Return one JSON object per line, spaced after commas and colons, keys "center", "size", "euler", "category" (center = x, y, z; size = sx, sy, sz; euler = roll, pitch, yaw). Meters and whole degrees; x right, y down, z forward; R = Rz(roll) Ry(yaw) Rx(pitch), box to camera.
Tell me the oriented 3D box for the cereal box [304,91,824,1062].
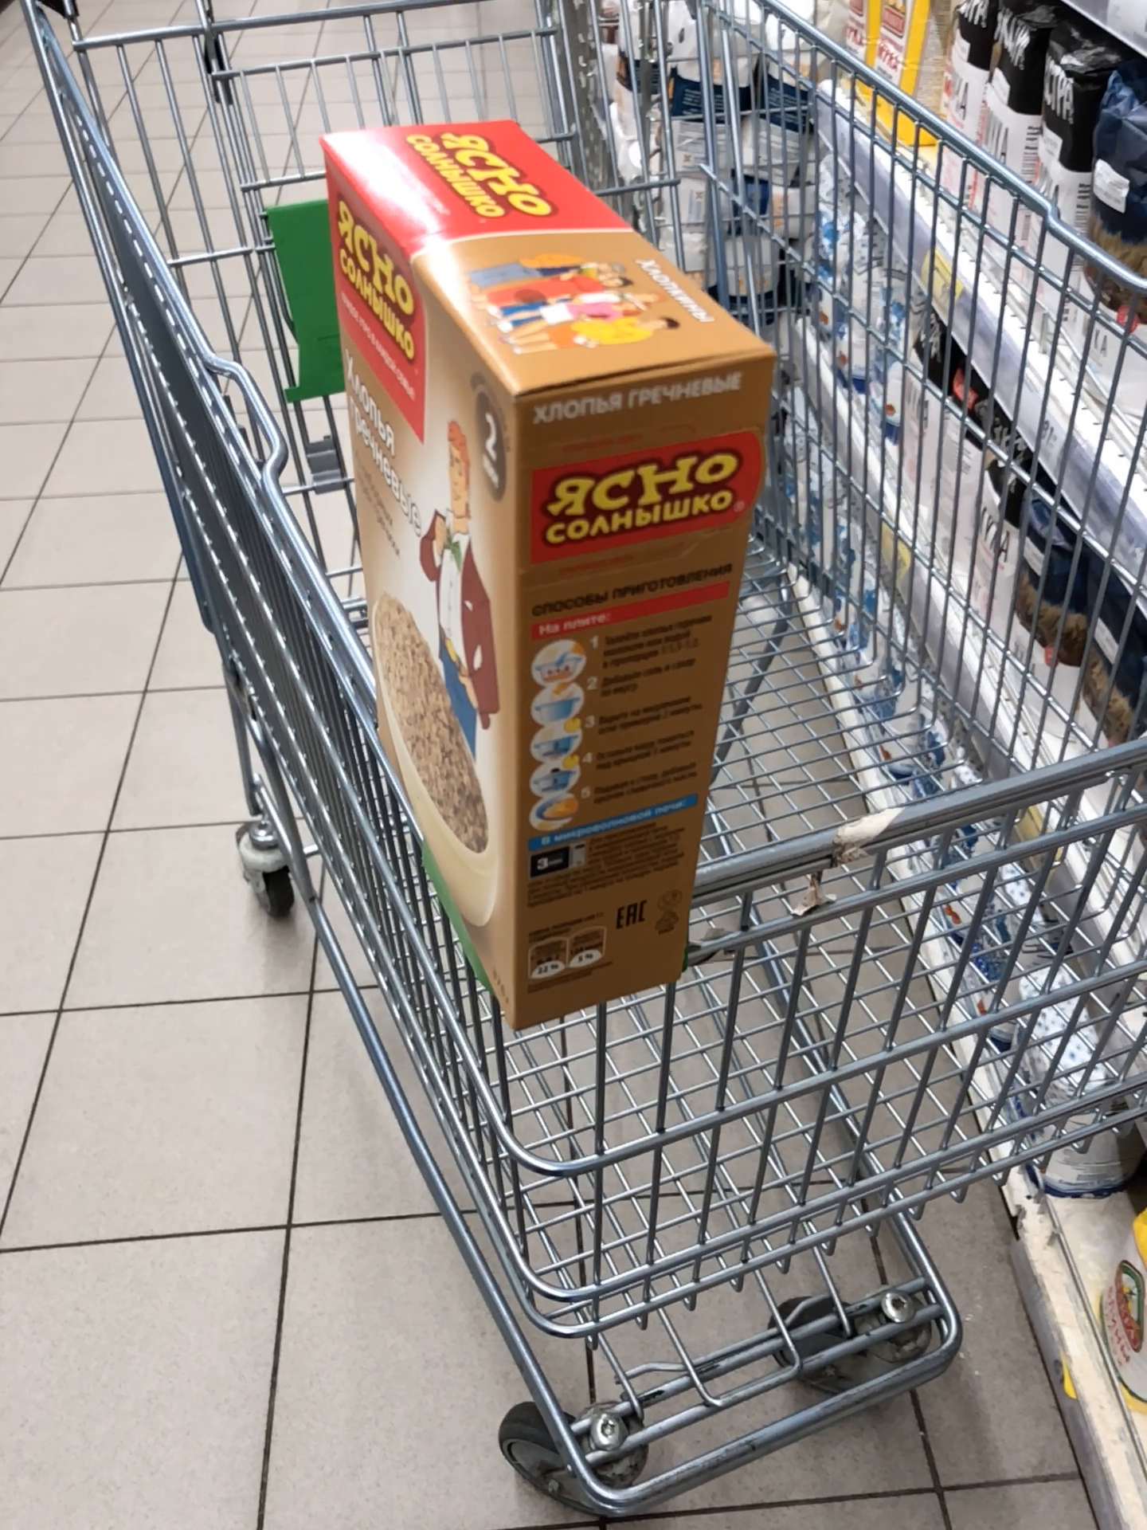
{"center": [-0.011, -0.042, 0.312], "size": [0.060, 0.189, 0.131], "euler": [-14, 45, -16], "category": "cereal box"}
